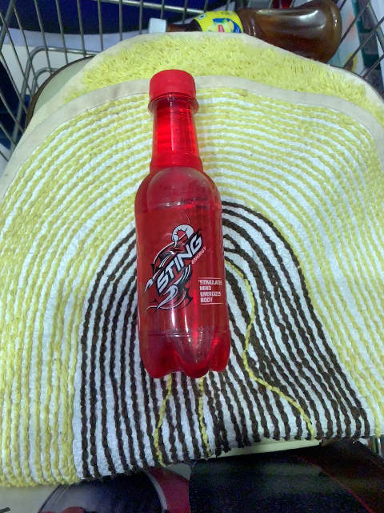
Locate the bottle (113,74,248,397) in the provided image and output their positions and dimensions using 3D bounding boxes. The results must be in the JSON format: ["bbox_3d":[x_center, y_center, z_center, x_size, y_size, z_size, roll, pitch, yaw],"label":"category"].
[{"bbox_3d":[-0.010,-0.014,0.230,0.060,0.040,0.170,-3,82,-8],"label":"bottle"}]
